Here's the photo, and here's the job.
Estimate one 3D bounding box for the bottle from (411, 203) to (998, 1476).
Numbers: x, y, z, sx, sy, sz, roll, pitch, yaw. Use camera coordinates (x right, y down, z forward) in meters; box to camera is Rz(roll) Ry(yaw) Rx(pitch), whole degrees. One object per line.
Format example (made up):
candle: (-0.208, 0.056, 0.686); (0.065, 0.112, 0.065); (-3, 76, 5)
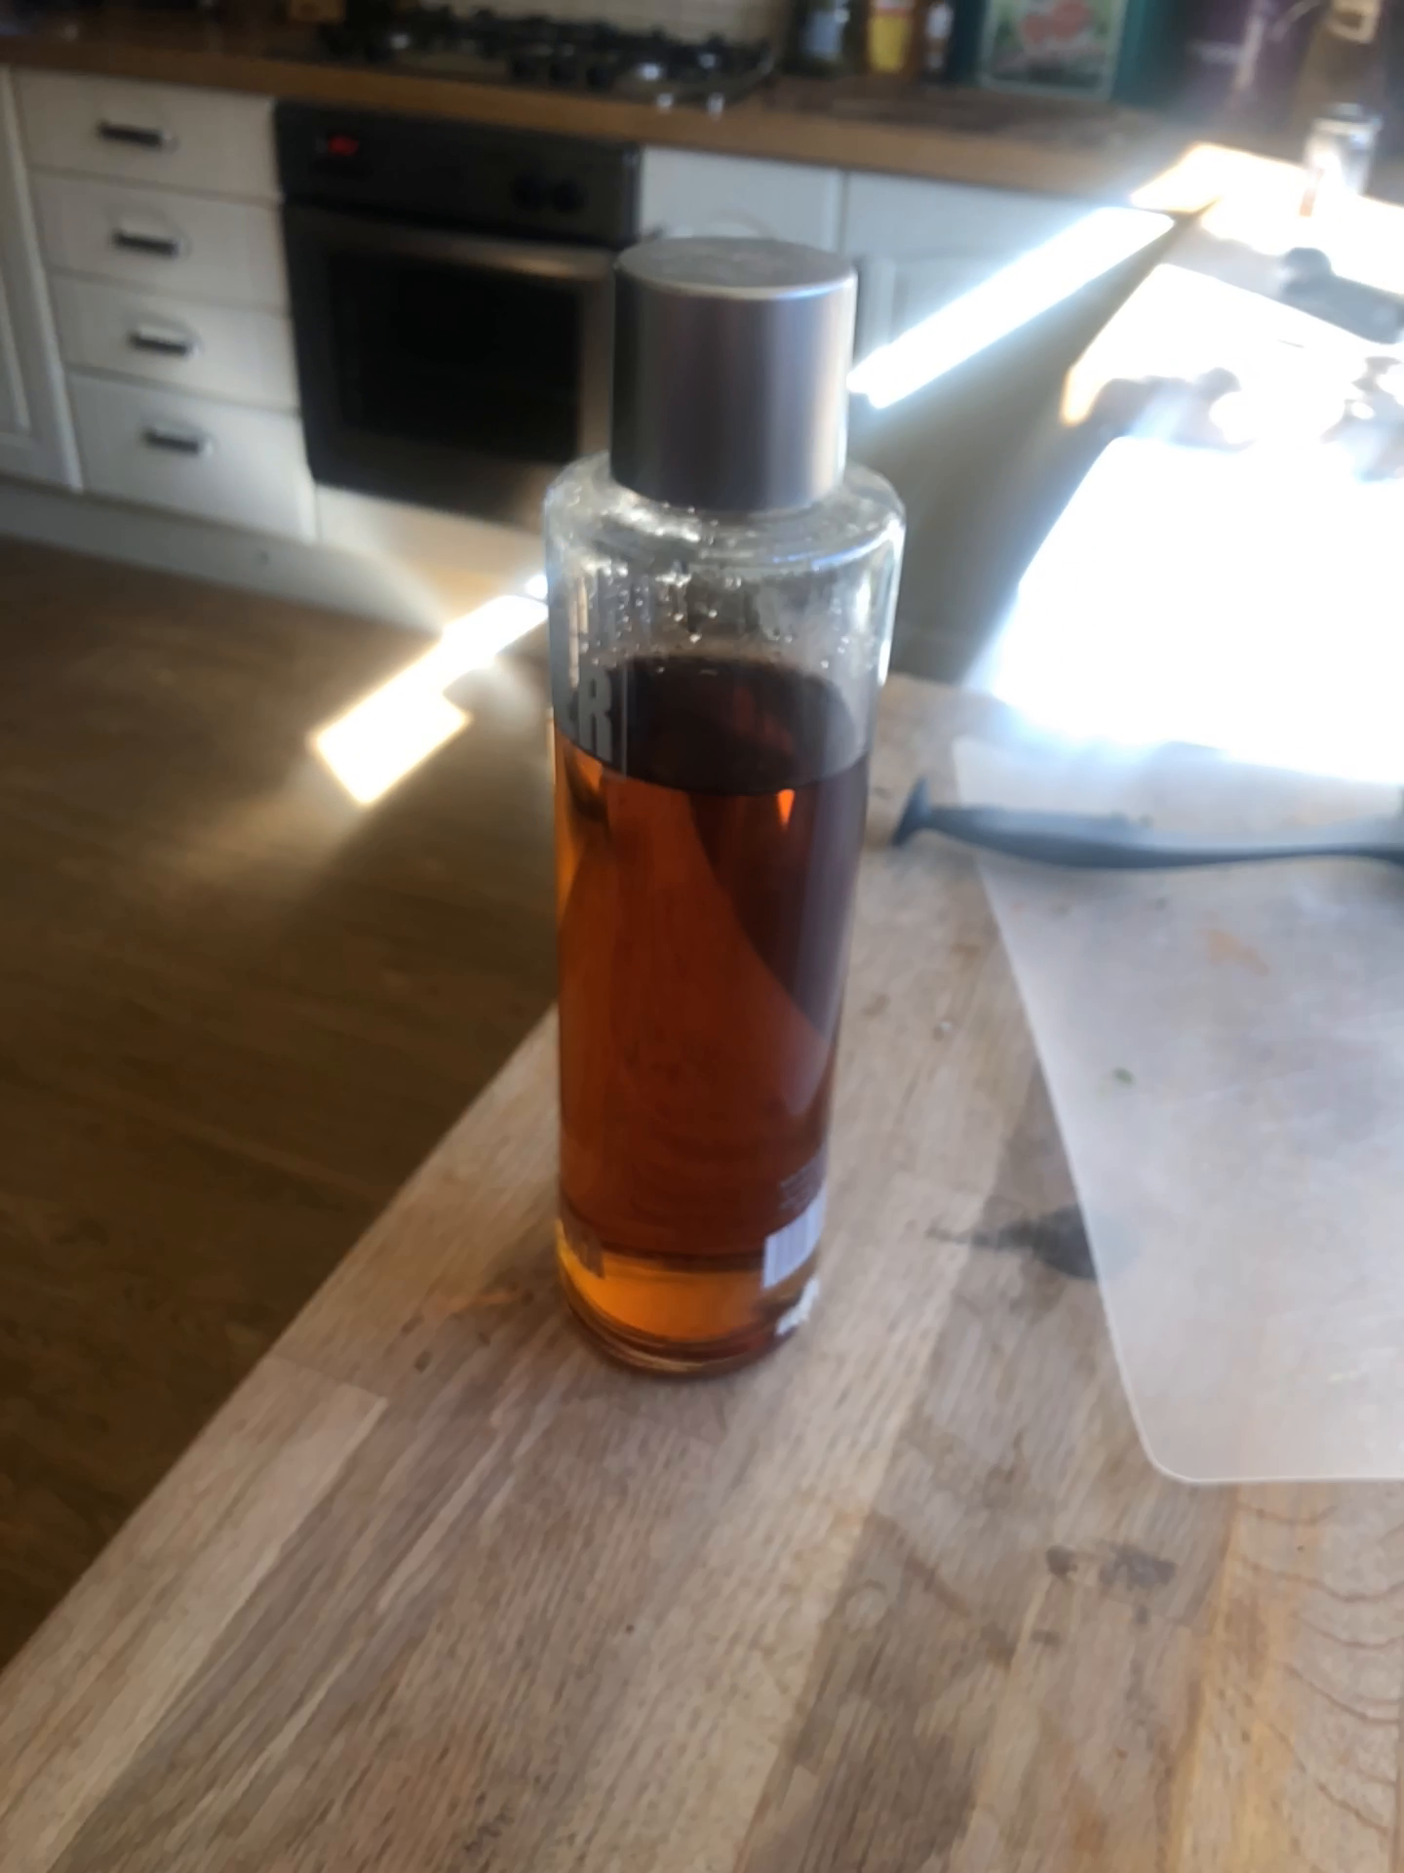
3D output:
bottle: (-0.003, -0.008, 0.366); (0.080, 0.278, 0.081); (2, 35, -2)
